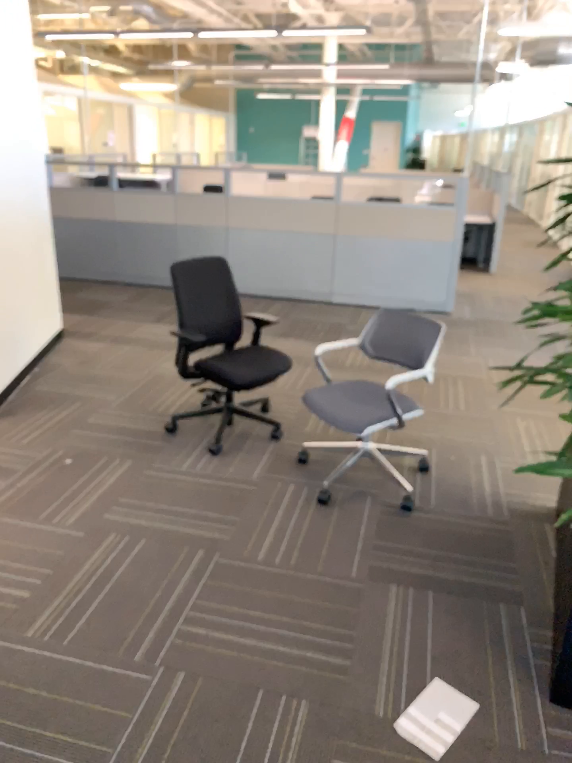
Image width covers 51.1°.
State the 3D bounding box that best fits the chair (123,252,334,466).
[{"bbox_3d":[-0.338,-0.198,3.419,0.801,0.886,0.853,-16,27,-38],"label":"chair"}]

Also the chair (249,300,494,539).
[{"bbox_3d":[0.381,0.106,2.915,0.791,0.756,0.803,-15,27,-37],"label":"chair"}]
